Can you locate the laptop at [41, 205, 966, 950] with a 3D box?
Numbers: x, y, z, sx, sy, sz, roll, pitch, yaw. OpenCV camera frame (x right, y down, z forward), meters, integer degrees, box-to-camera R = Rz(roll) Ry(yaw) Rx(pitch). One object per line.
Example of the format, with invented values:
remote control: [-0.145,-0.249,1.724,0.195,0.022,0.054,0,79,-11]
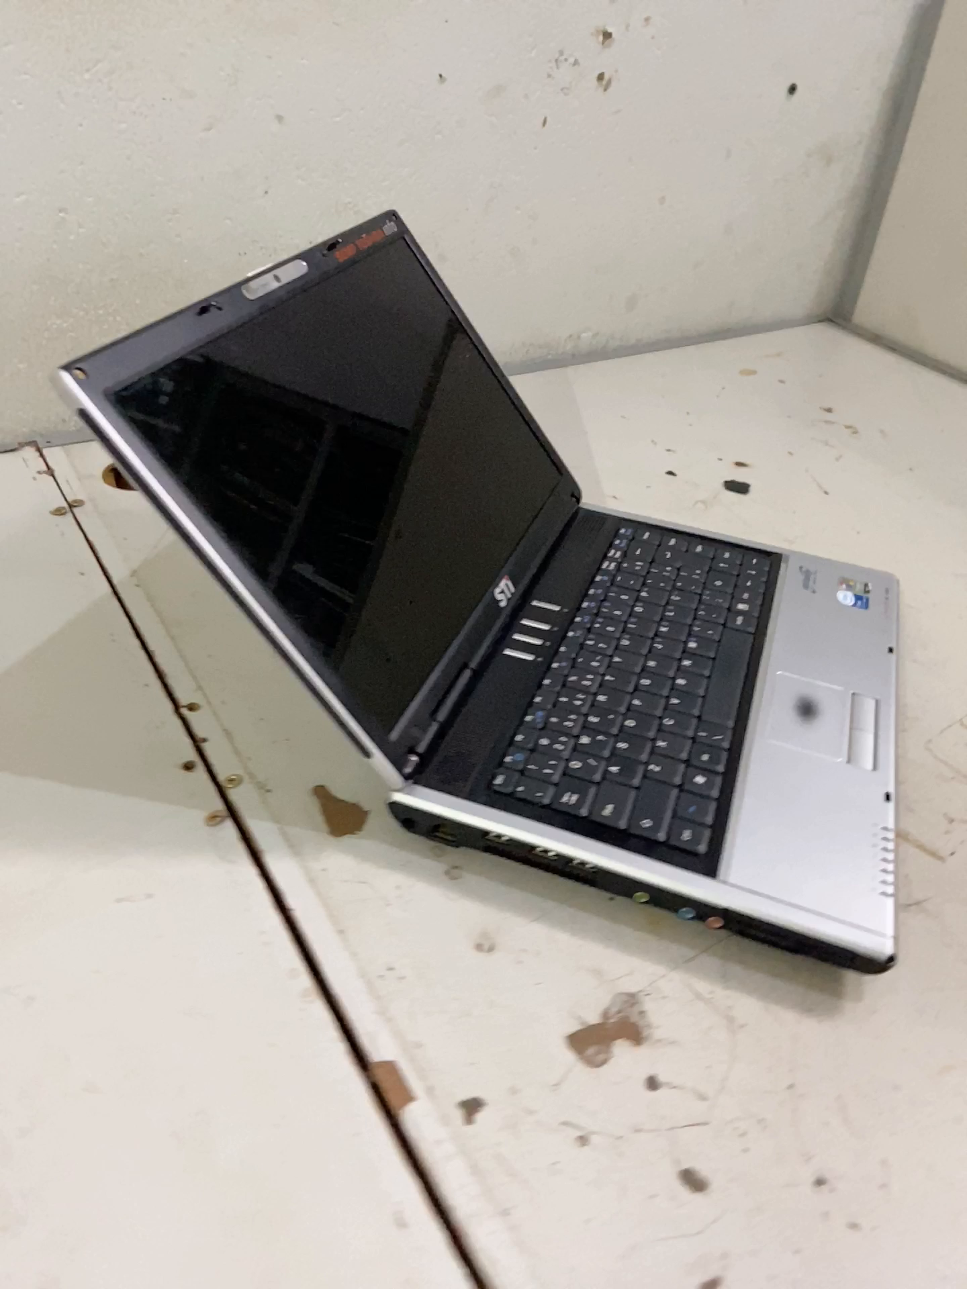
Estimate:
laptop: [0.053,-0.080,0.534,0.386,0.167,0.327,17,37,12]
